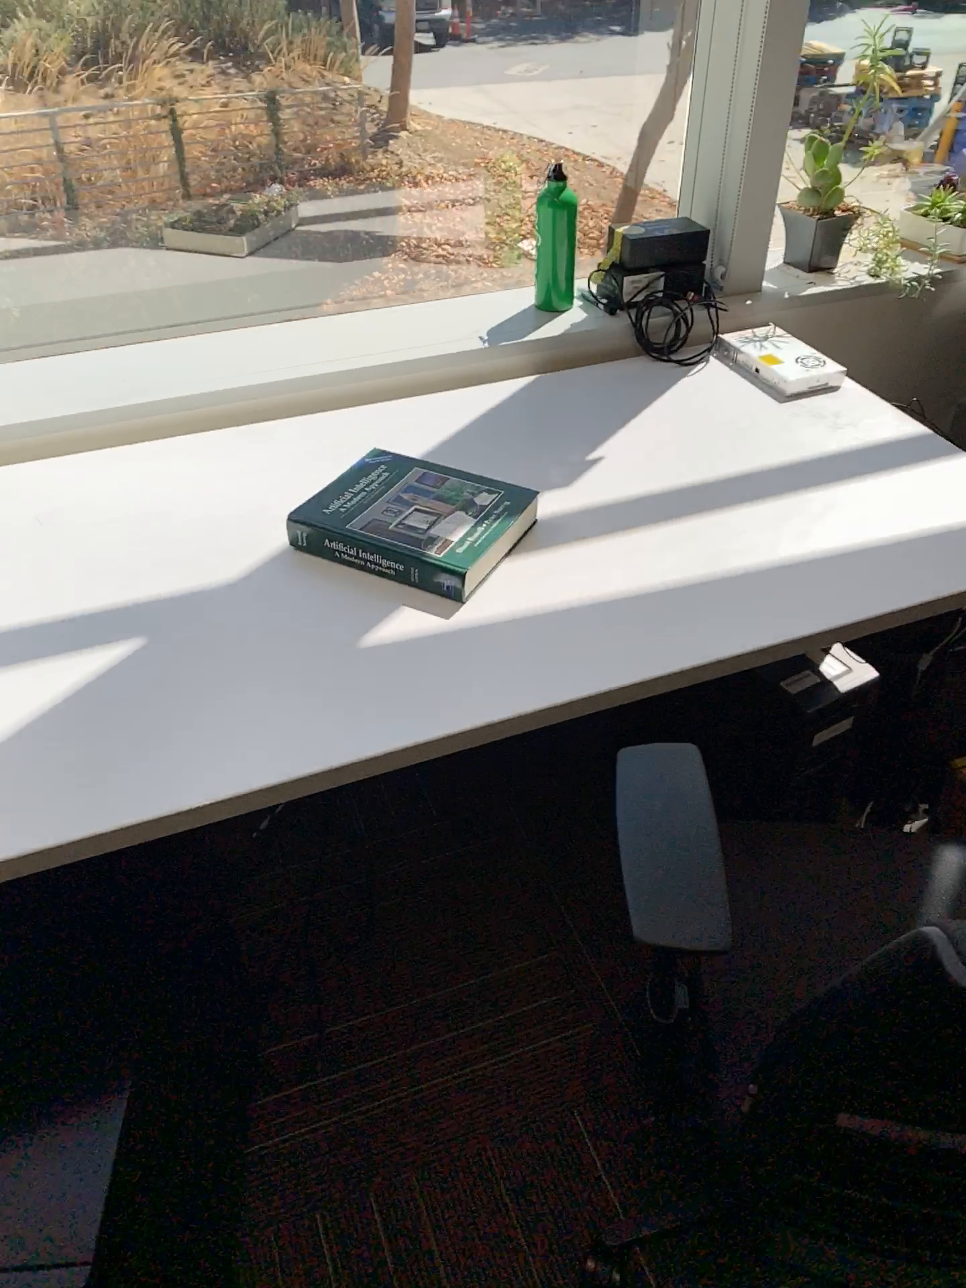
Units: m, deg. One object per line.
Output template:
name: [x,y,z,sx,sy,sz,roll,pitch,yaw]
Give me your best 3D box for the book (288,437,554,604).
book: [-0.076,-0.170,1.290,0.261,0.050,0.231,19,43,22]
